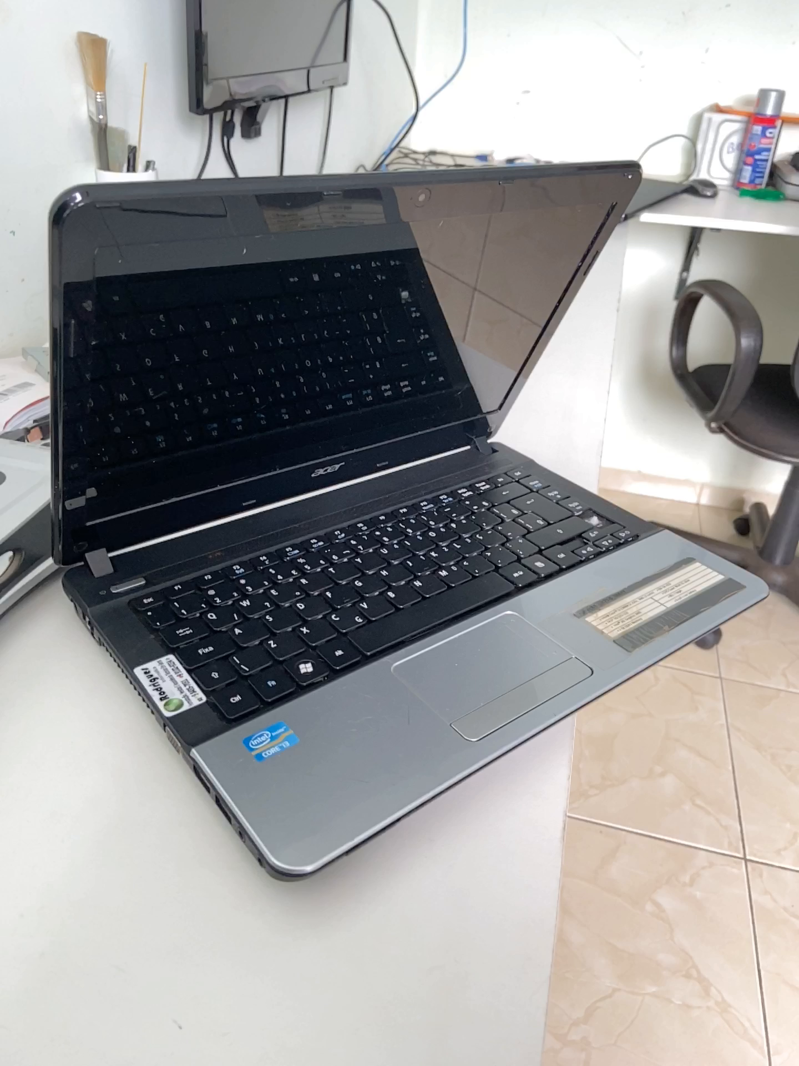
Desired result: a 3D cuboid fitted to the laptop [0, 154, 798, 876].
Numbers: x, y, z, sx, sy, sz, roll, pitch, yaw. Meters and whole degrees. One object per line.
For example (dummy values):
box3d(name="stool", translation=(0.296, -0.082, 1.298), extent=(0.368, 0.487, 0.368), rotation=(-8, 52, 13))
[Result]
box3d(name="laptop", translation=(0.017, -0.060, 0.420), extent=(0.328, 0.211, 0.239), rotation=(-20, 38, -34))
